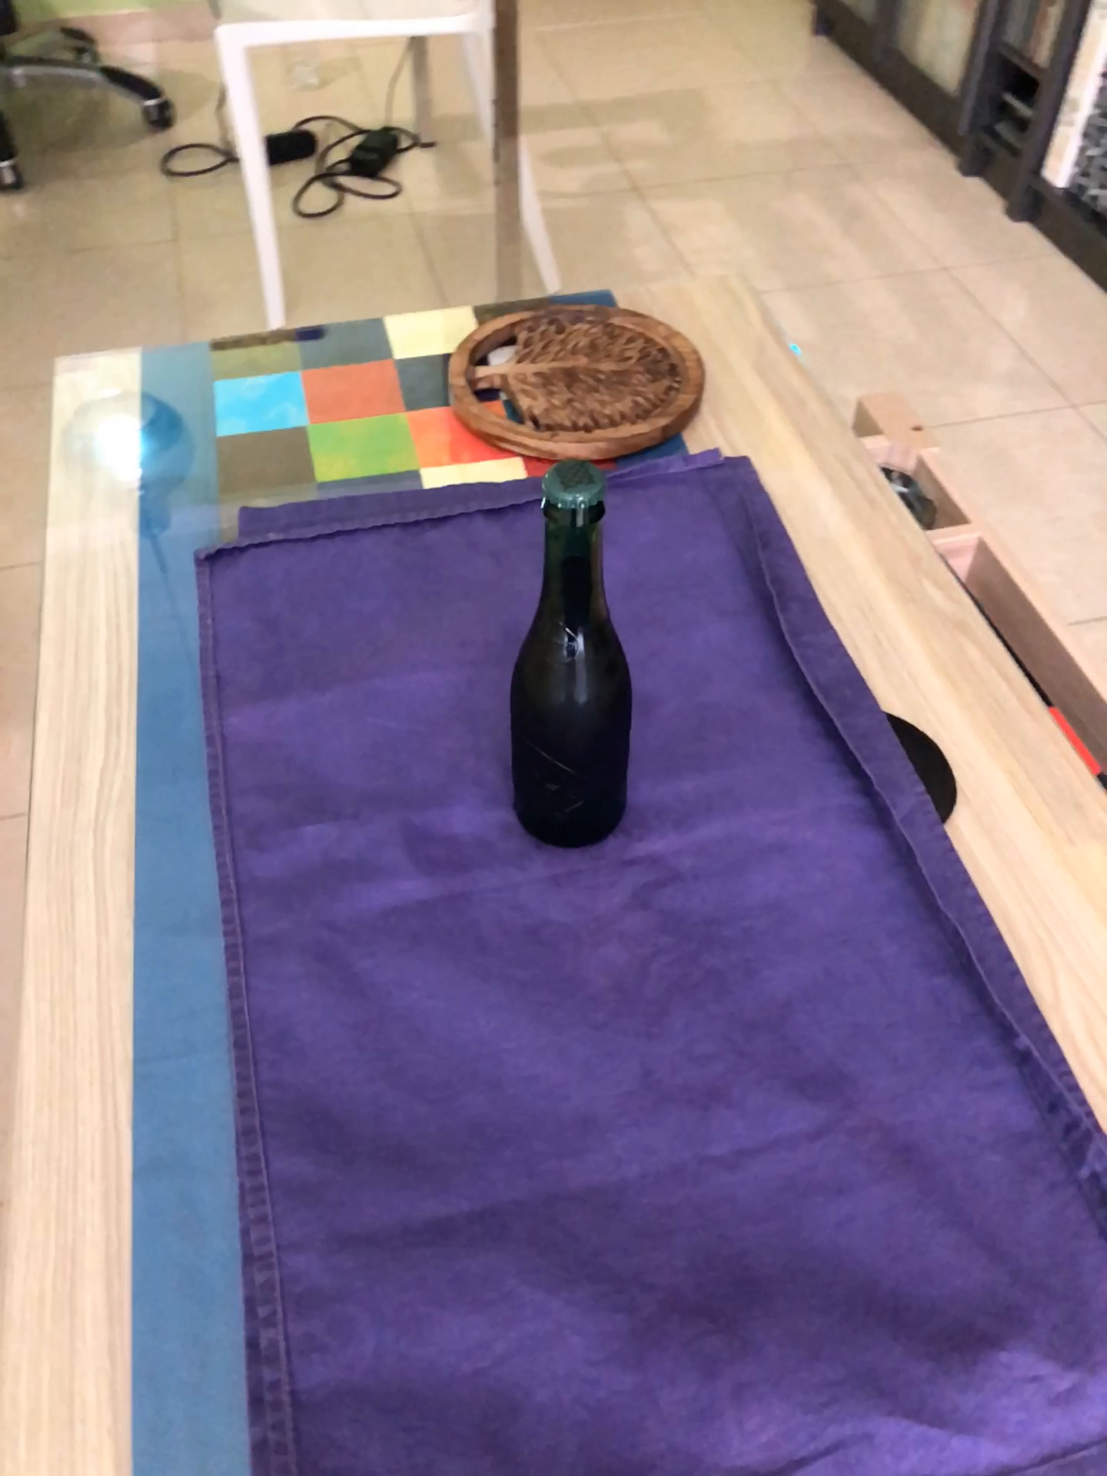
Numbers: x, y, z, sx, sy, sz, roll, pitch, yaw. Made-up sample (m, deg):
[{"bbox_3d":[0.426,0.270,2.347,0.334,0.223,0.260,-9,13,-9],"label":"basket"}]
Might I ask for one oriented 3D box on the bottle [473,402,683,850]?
[{"bbox_3d":[0.012,-0.044,0.590,0.080,0.219,0.070,5,48,5],"label":"bottle"}]
